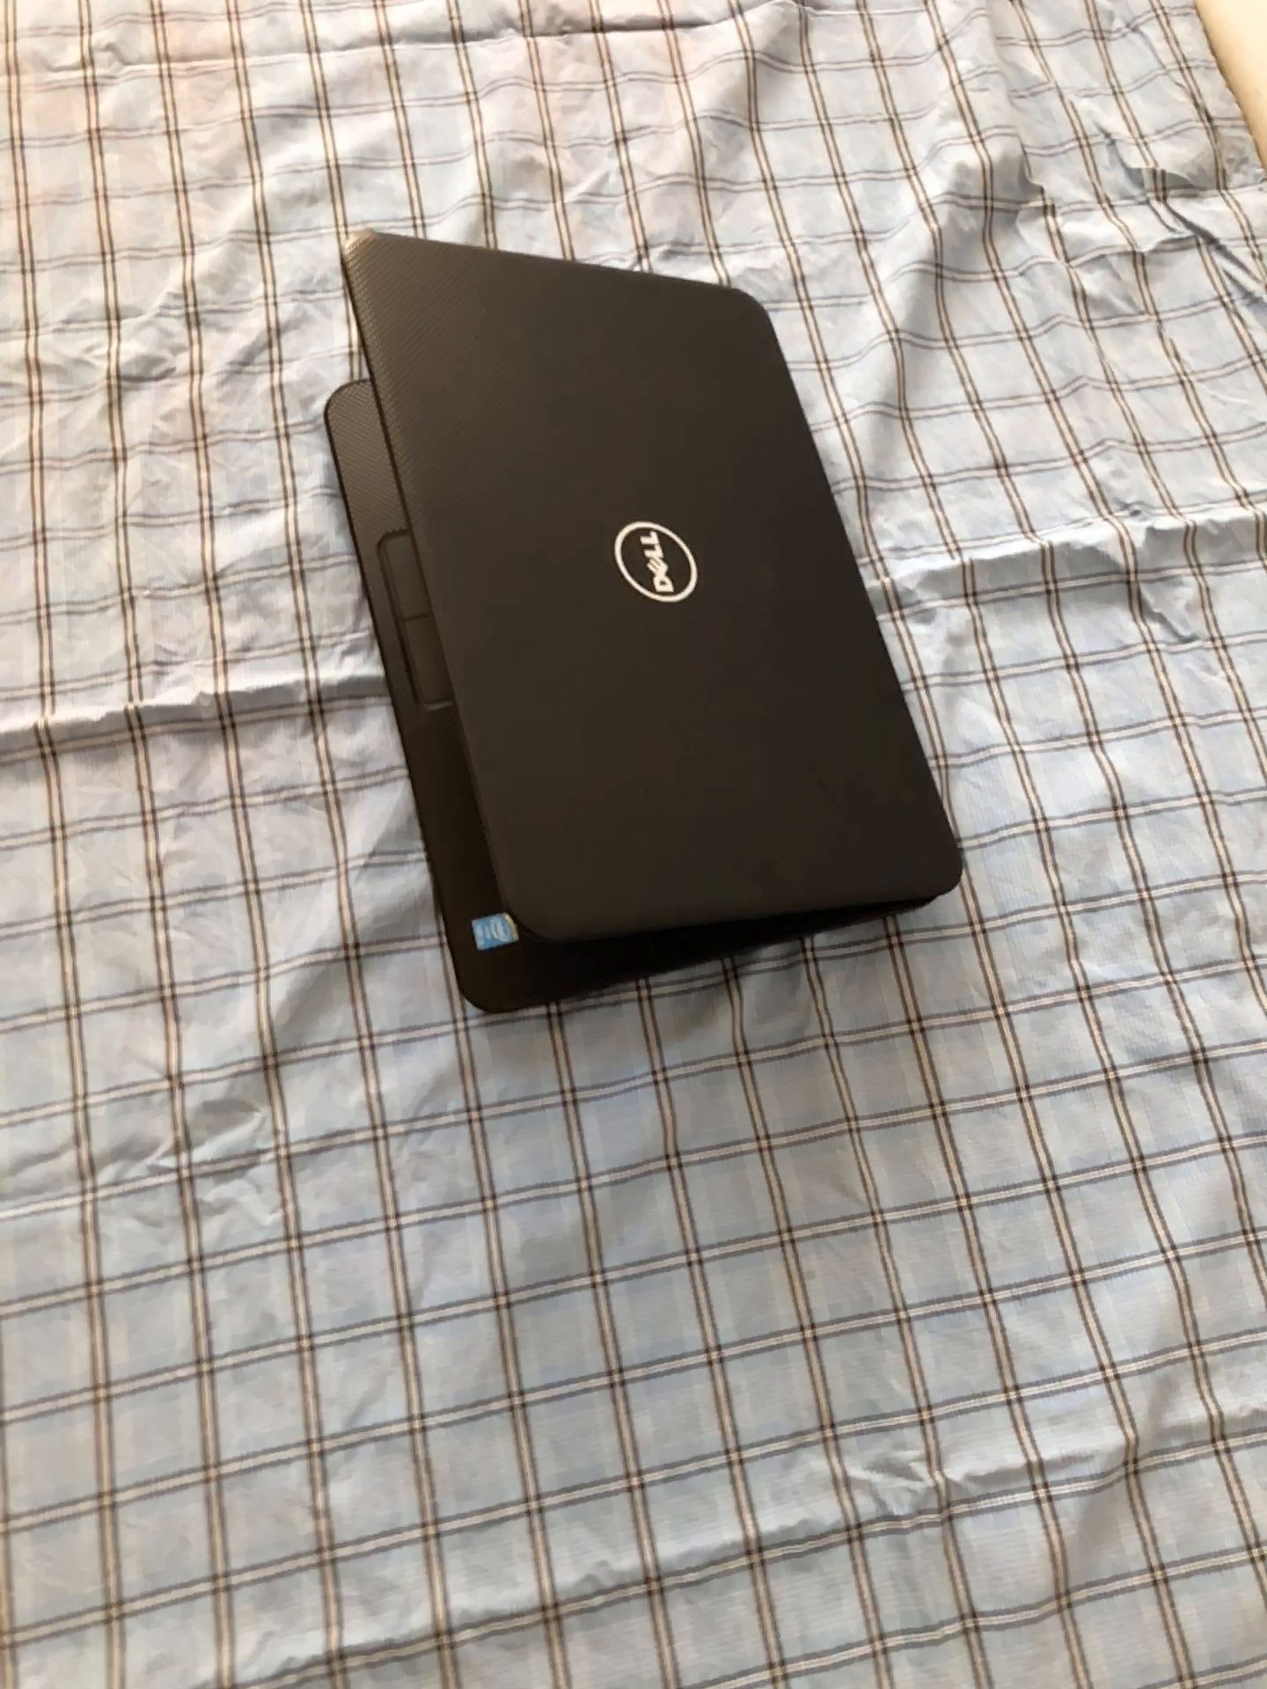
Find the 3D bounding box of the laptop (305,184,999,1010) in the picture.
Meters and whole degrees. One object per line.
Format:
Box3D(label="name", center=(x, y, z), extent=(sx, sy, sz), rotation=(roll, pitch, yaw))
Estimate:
Box3D(label="laptop", center=(-0.005, -0.124, 0.673), extent=(0.223, 0.099, 0.351), rotation=(-14, 73, -7))
